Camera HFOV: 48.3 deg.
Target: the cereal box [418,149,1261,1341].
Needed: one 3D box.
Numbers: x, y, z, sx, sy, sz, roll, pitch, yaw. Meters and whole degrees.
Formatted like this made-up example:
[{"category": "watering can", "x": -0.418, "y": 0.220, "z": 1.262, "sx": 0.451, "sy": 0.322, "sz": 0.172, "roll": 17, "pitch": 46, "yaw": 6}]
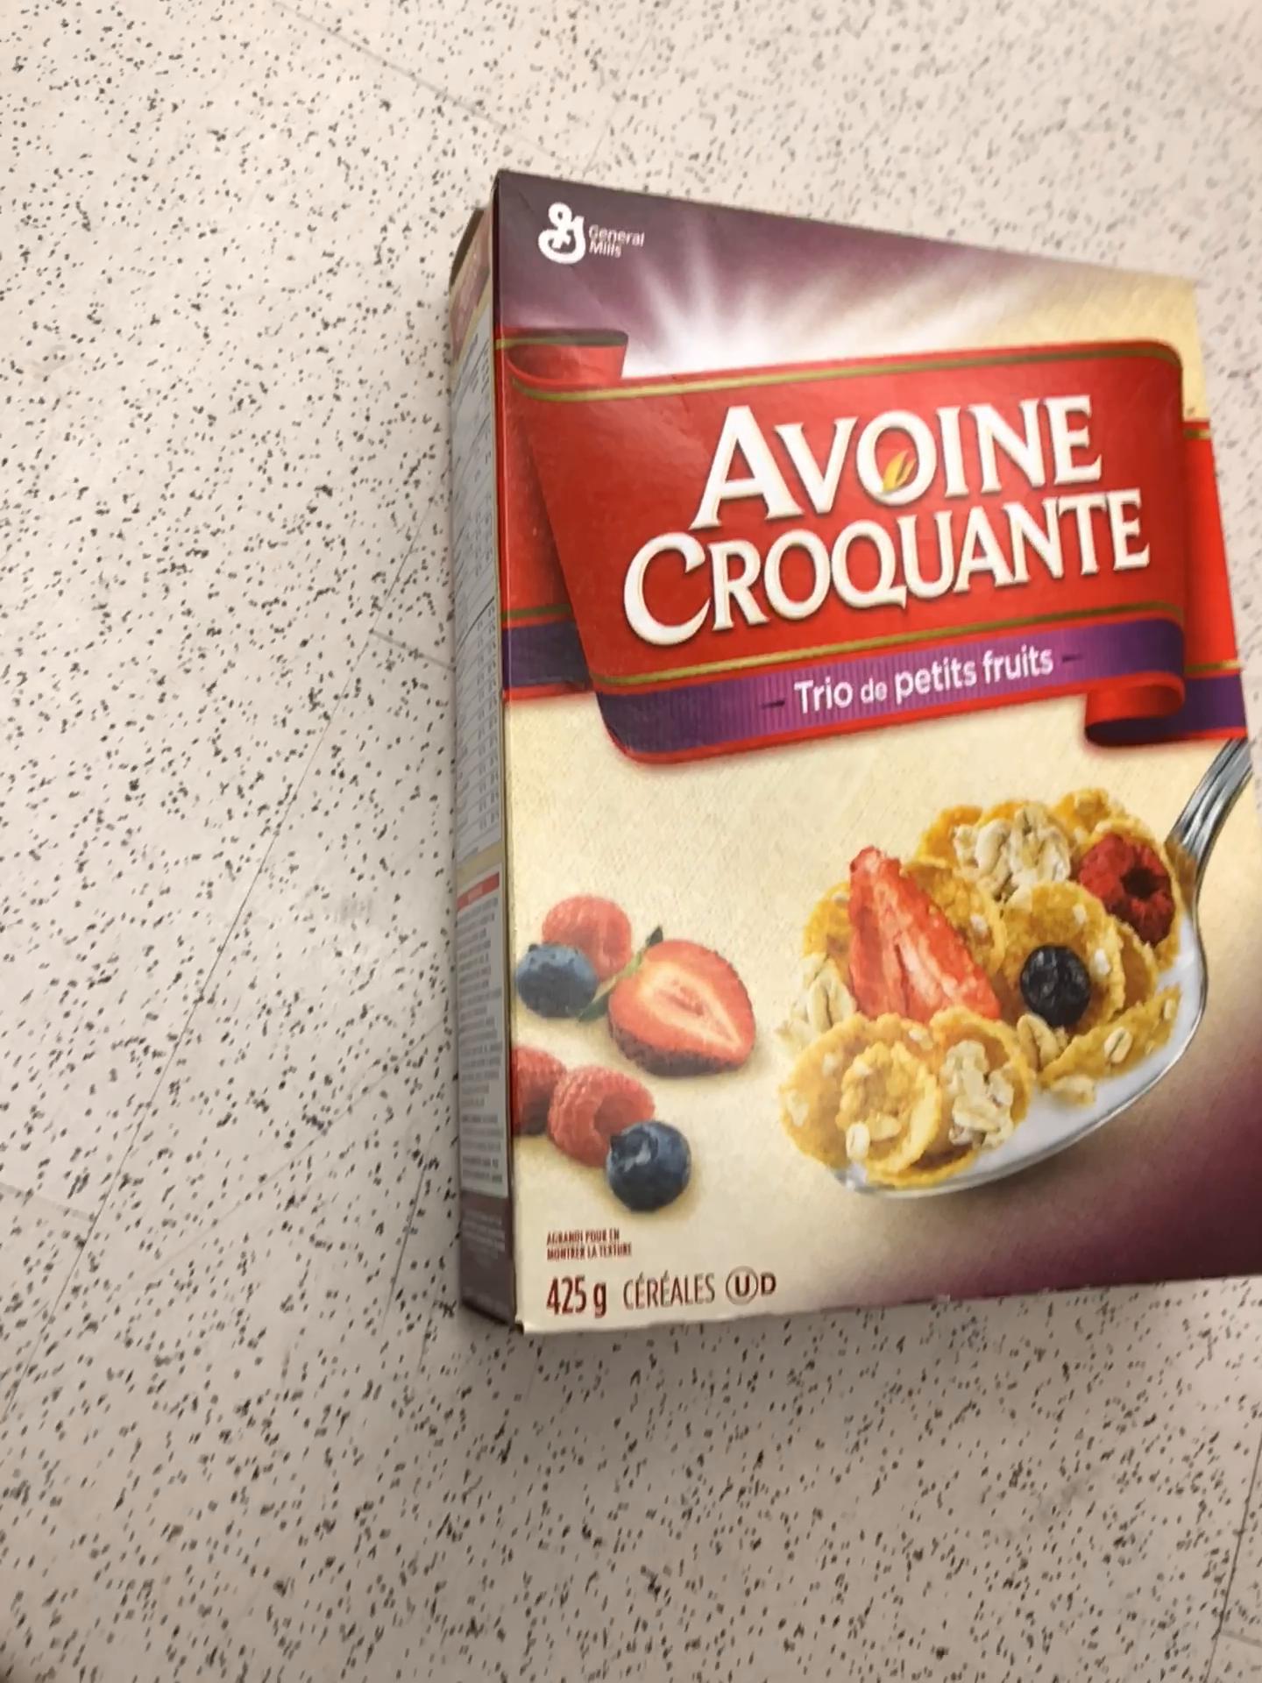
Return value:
[{"category": "cereal box", "x": 0.055, "y": -0.024, "z": 0.368, "sx": 0.210, "sy": 0.060, "sz": 0.270, "roll": 1, "pitch": 79, "yaw": -17}]
